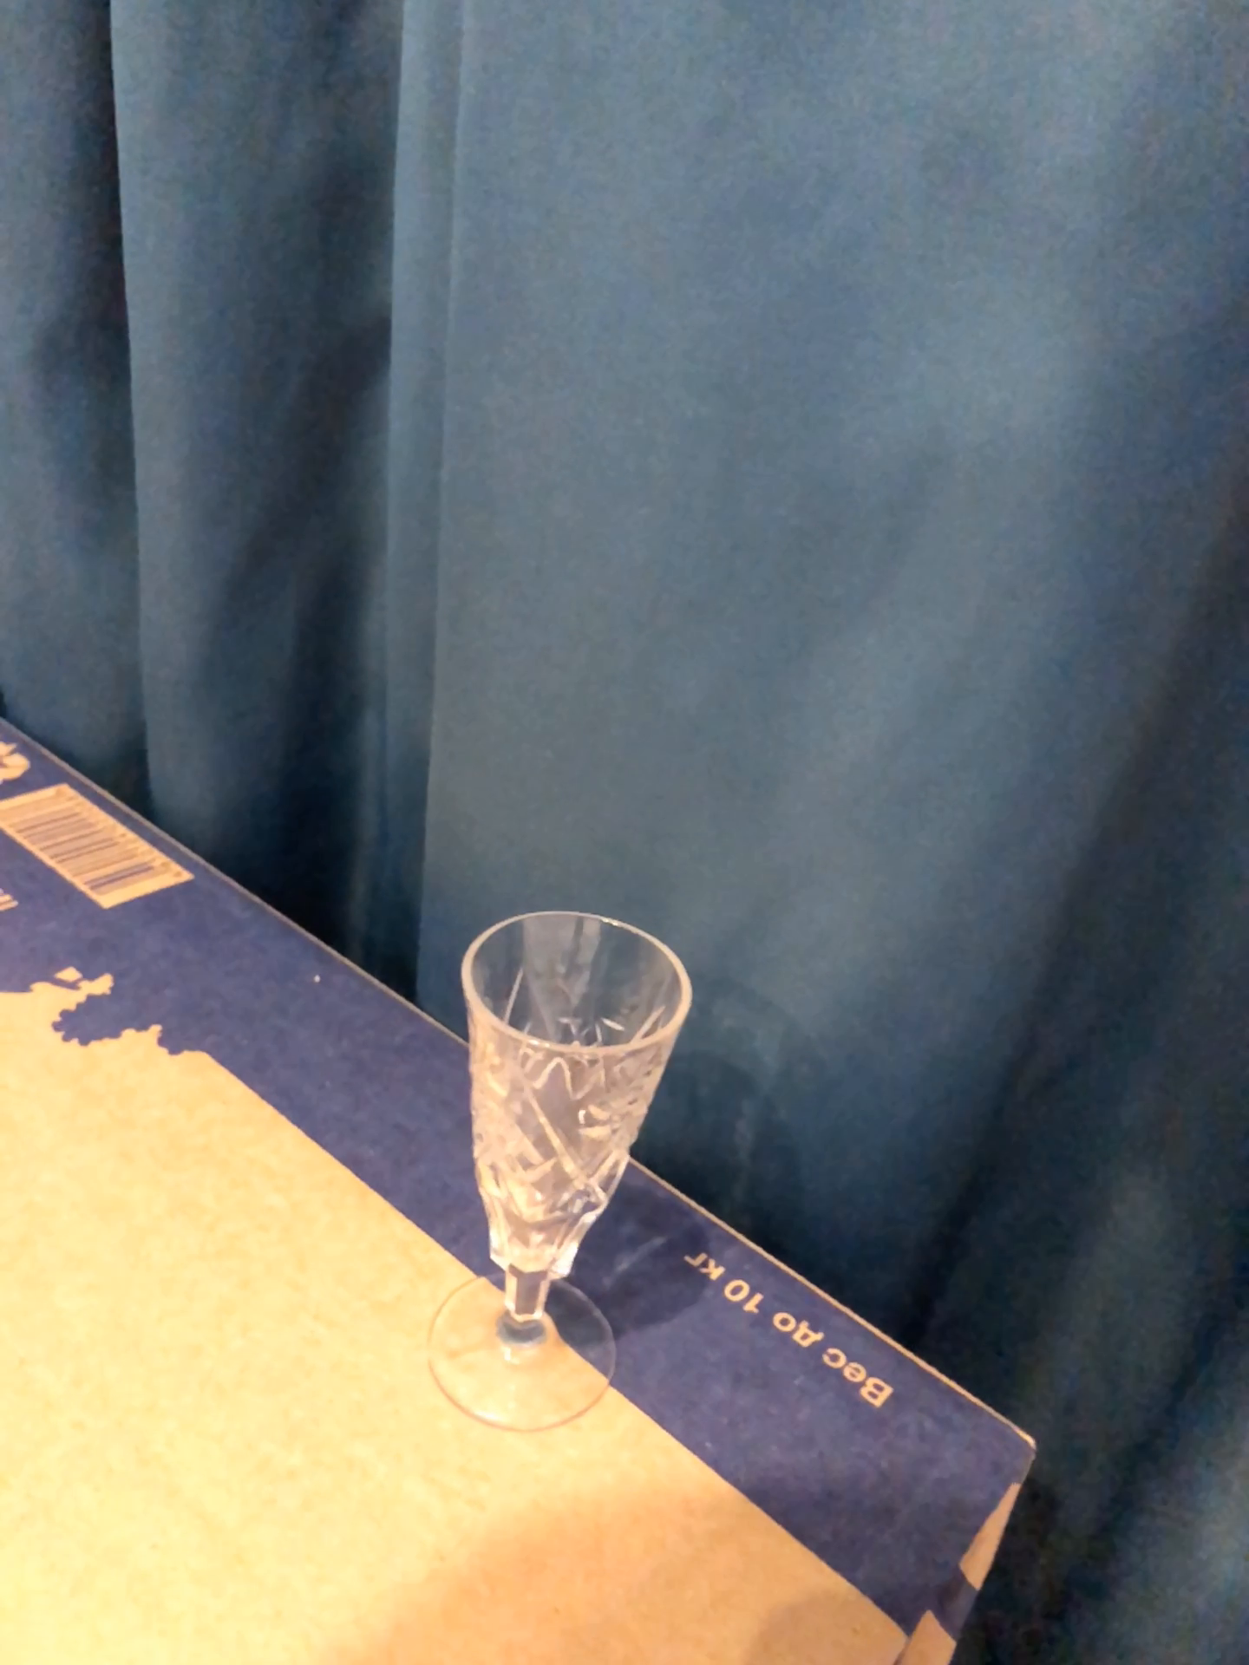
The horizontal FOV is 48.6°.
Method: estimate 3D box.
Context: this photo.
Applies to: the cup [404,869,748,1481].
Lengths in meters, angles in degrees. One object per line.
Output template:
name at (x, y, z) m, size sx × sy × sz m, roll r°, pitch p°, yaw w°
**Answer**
cup at (-0.016, 0.076, 0.307) m, size 0.051 × 0.118 × 0.054 m, roll 5°, pitch 31°, yaw -3°
